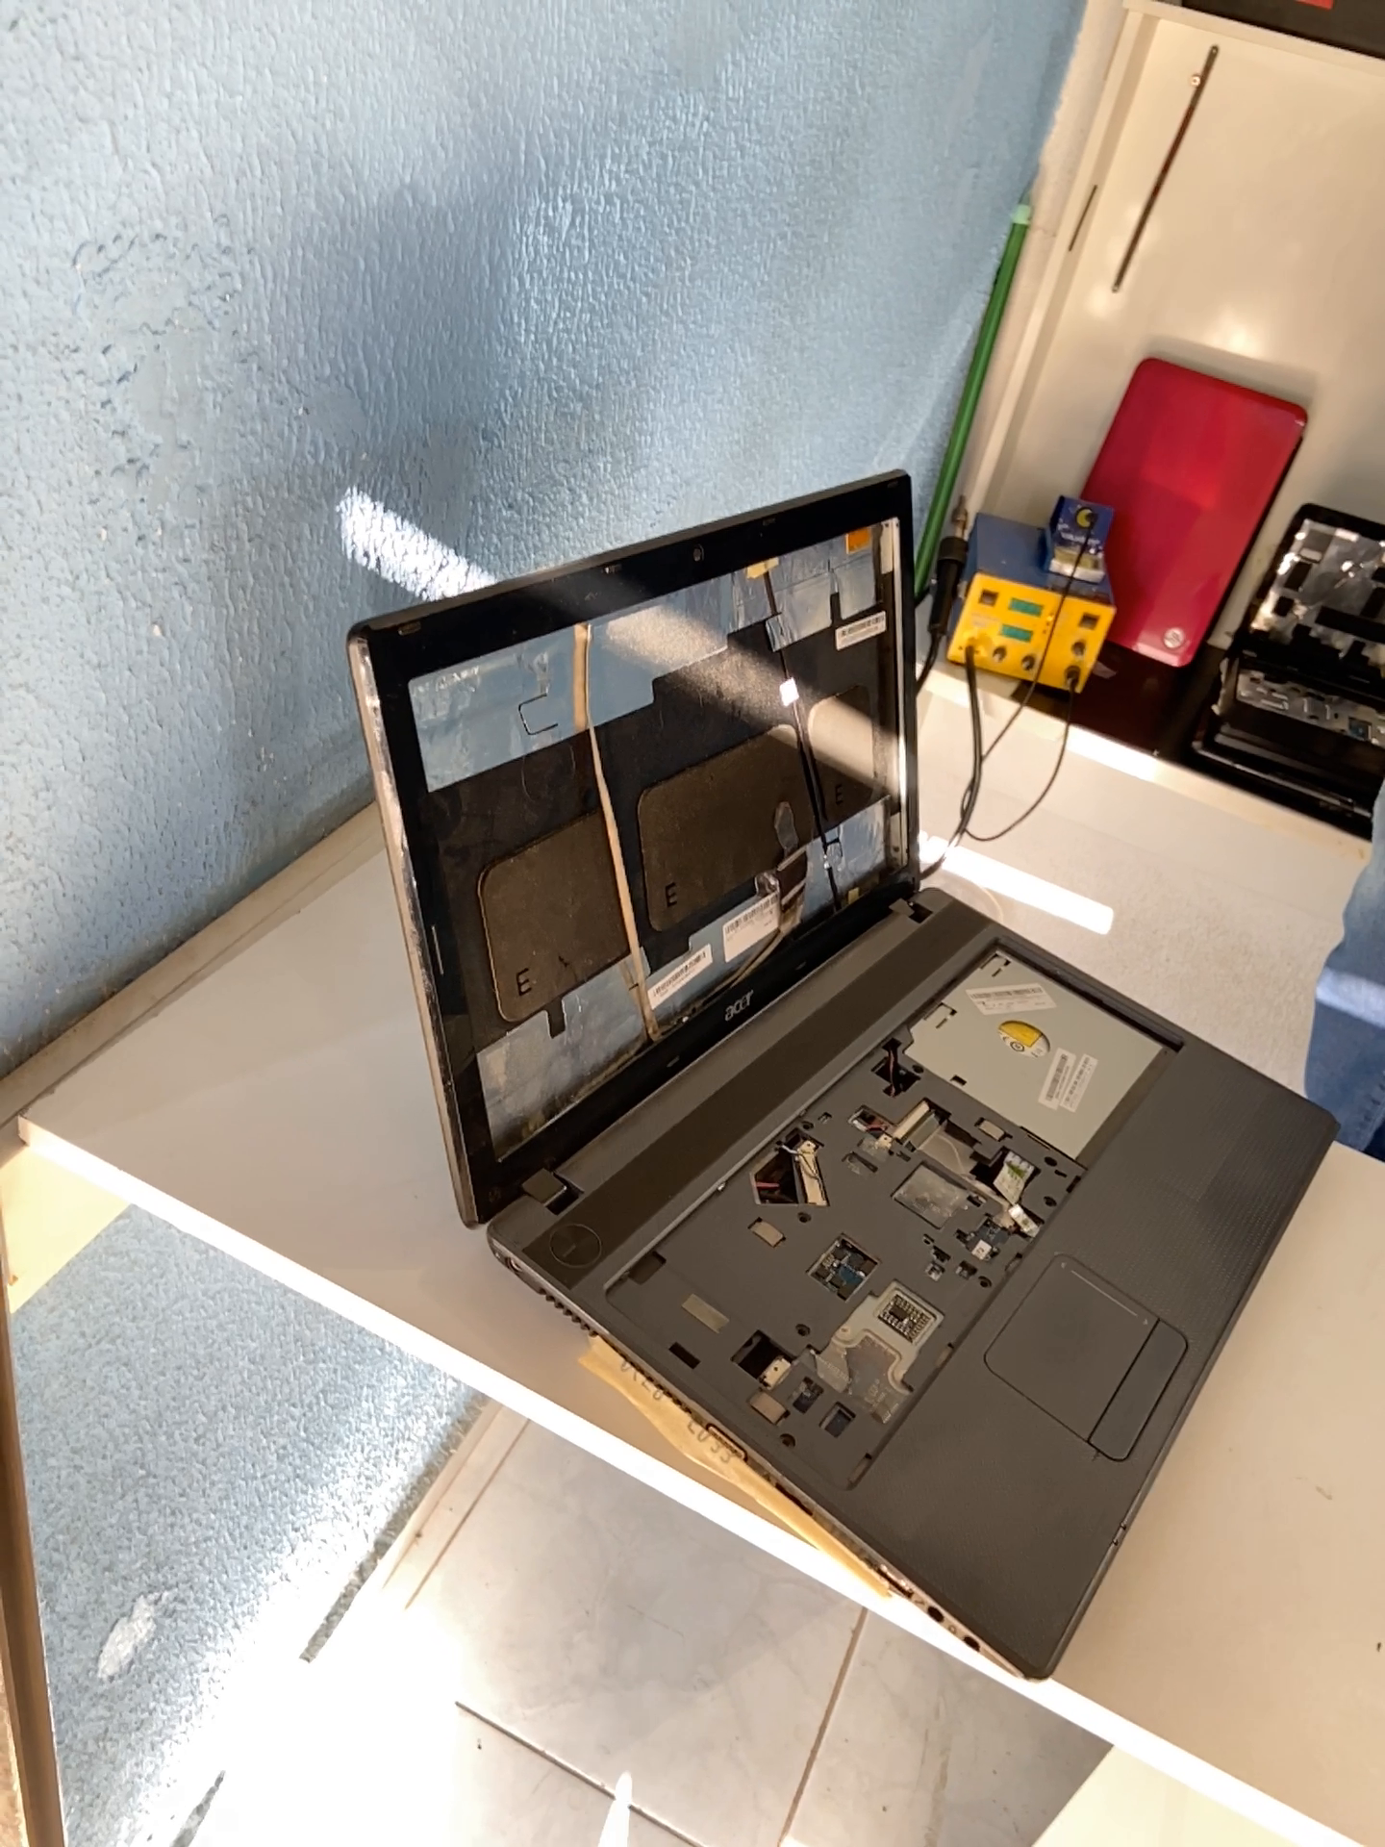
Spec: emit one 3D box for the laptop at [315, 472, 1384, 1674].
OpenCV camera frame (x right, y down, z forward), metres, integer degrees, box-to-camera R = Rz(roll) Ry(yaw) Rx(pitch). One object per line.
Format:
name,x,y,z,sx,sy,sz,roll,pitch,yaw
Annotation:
laptop,0.111,0.002,0.604,0.349,0.210,0.380,32,38,23
